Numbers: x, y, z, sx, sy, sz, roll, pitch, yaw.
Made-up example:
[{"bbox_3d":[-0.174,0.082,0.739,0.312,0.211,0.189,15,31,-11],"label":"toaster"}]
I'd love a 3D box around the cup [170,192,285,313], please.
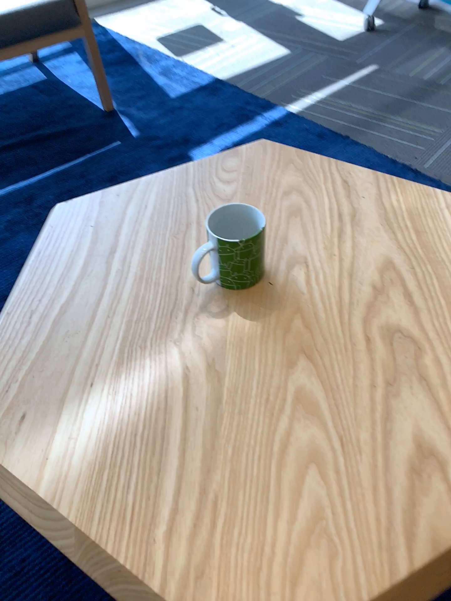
[{"bbox_3d":[0.005,-0.067,0.631,0.120,0.090,0.090,-31,54,-21],"label":"cup"}]
